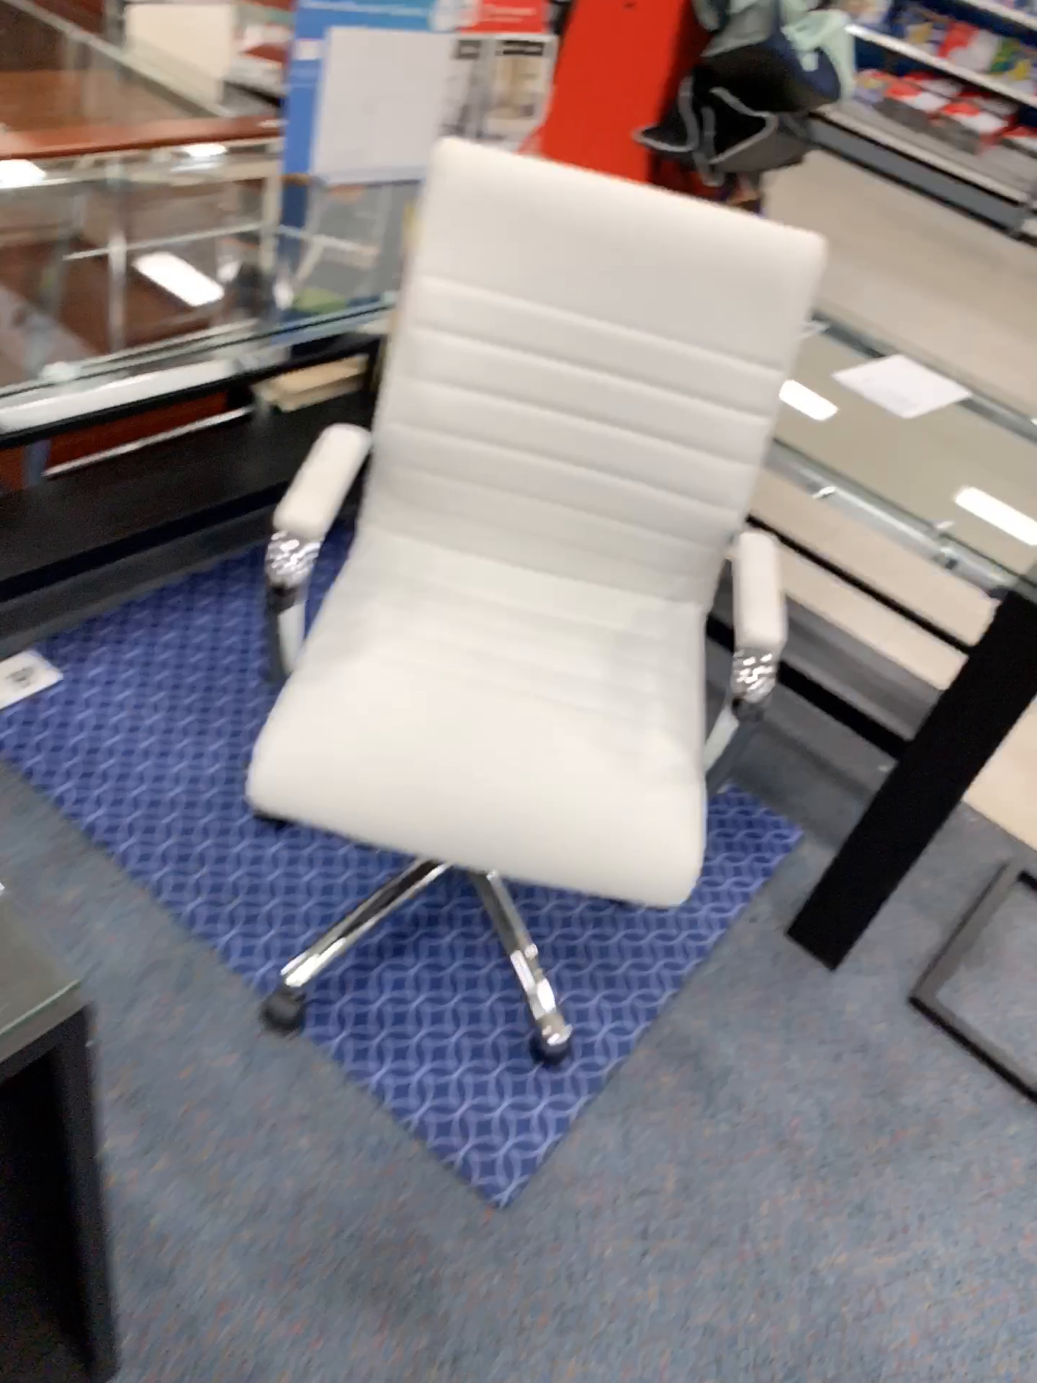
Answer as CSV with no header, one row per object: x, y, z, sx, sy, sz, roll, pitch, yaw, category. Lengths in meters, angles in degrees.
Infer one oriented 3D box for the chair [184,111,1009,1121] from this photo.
-0.002,-0.054,1.358,0.614,0.963,0.664,13,41,-5,chair
